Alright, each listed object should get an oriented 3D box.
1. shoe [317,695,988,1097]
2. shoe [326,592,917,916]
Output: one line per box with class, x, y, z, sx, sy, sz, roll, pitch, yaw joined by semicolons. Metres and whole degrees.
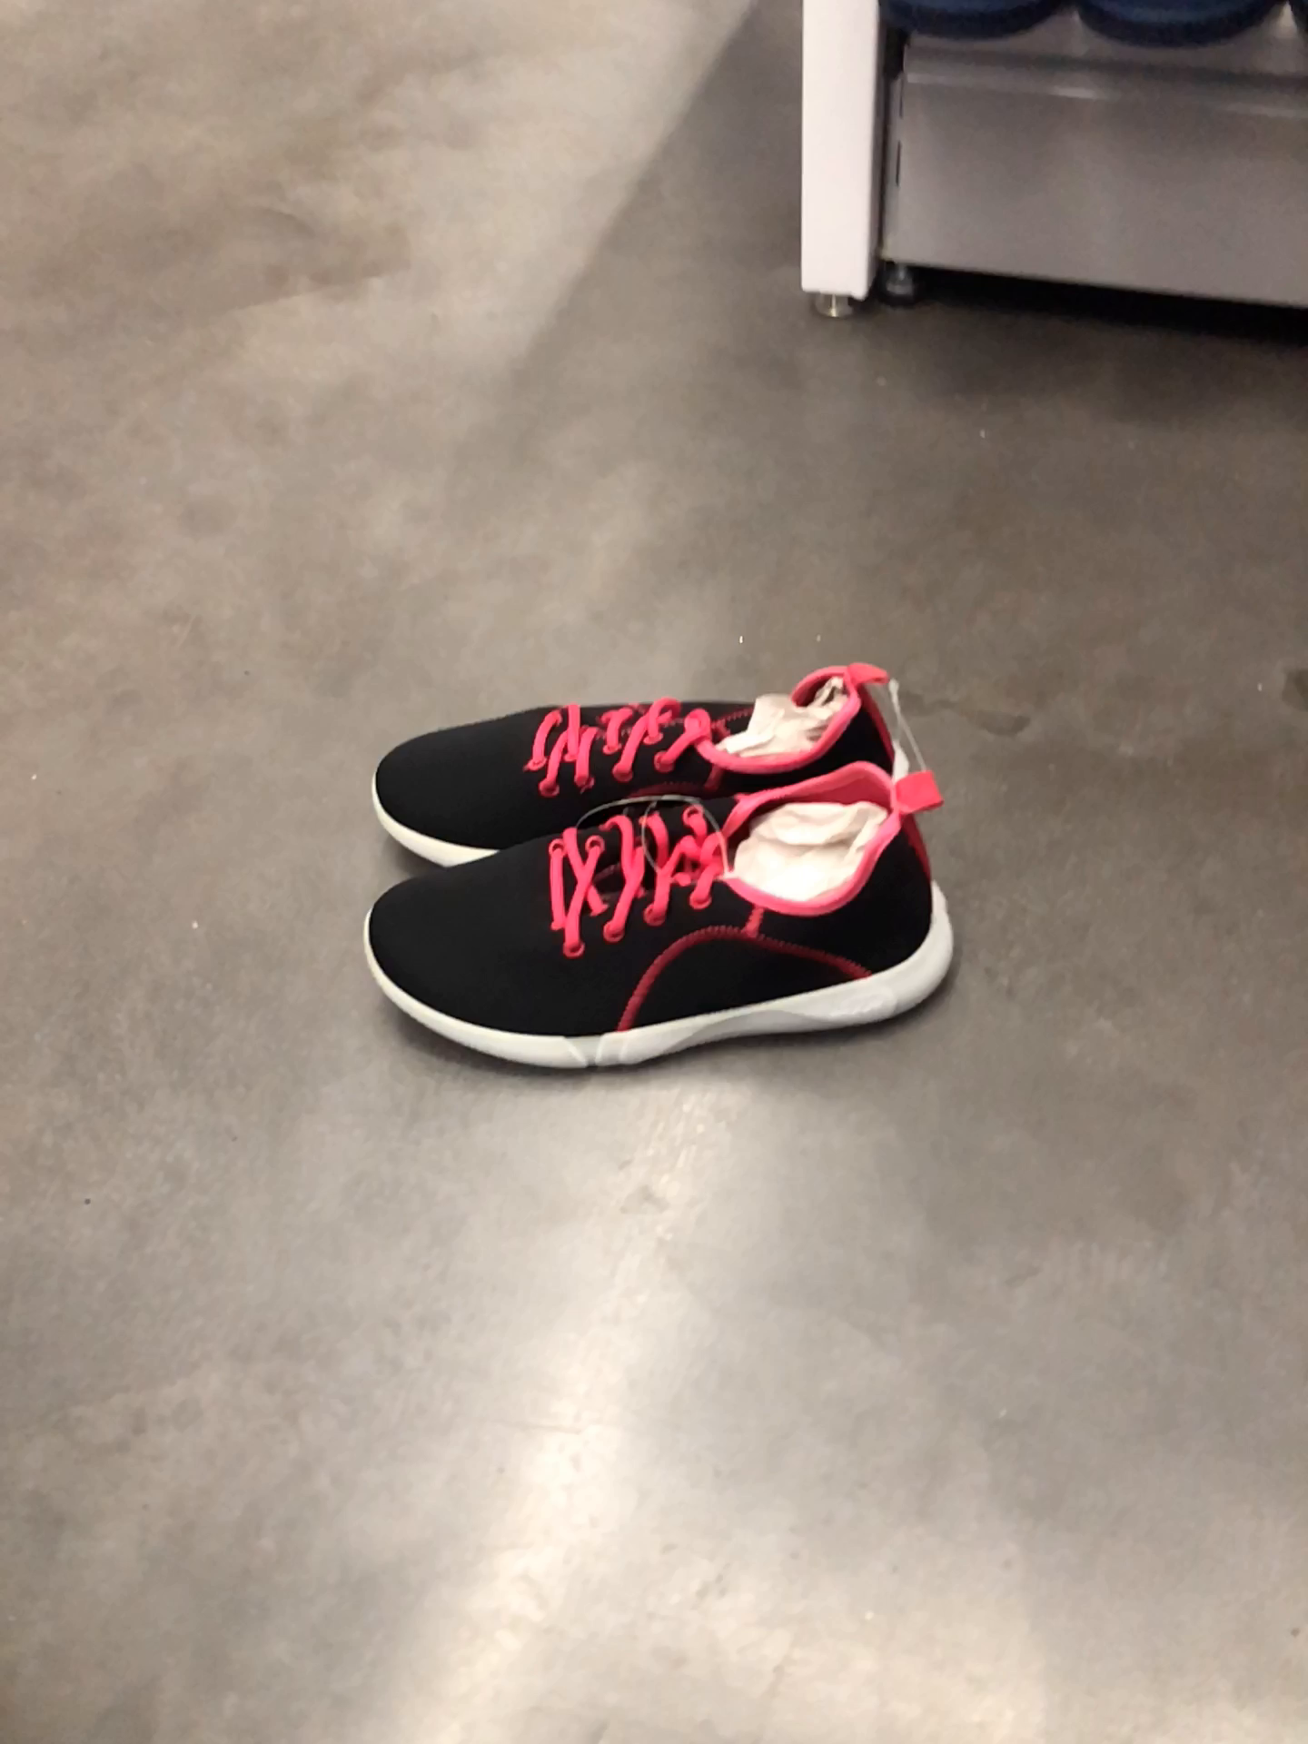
shoe;-0.001;0.010;0.555;0.230;0.090;0.101;-6;52;1
shoe;-0.009;-0.050;0.622;0.230;0.090;0.101;-1;52;4
